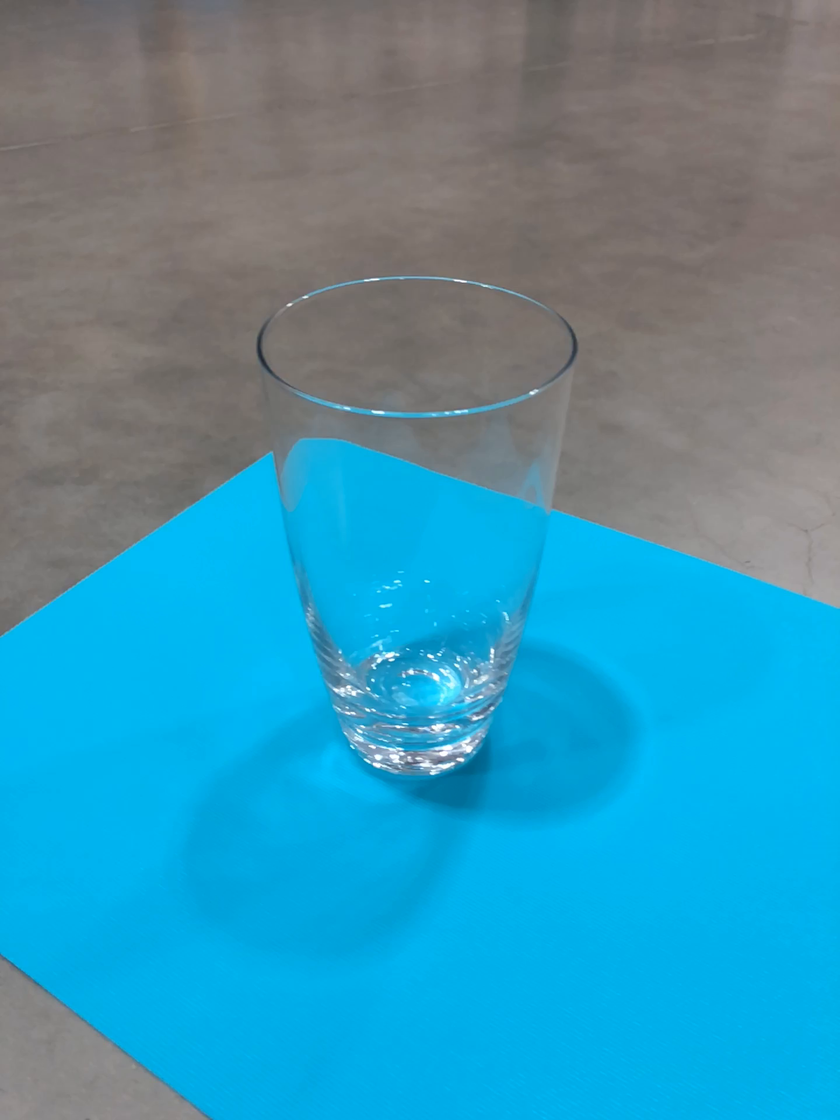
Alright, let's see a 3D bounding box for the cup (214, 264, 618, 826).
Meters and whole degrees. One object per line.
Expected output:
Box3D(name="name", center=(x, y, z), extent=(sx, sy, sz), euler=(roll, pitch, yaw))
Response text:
Box3D(name="cup", center=(0.001, -0.003, 0.319), extent=(0.100, 0.159, 0.100), euler=(0, 37, 0))
